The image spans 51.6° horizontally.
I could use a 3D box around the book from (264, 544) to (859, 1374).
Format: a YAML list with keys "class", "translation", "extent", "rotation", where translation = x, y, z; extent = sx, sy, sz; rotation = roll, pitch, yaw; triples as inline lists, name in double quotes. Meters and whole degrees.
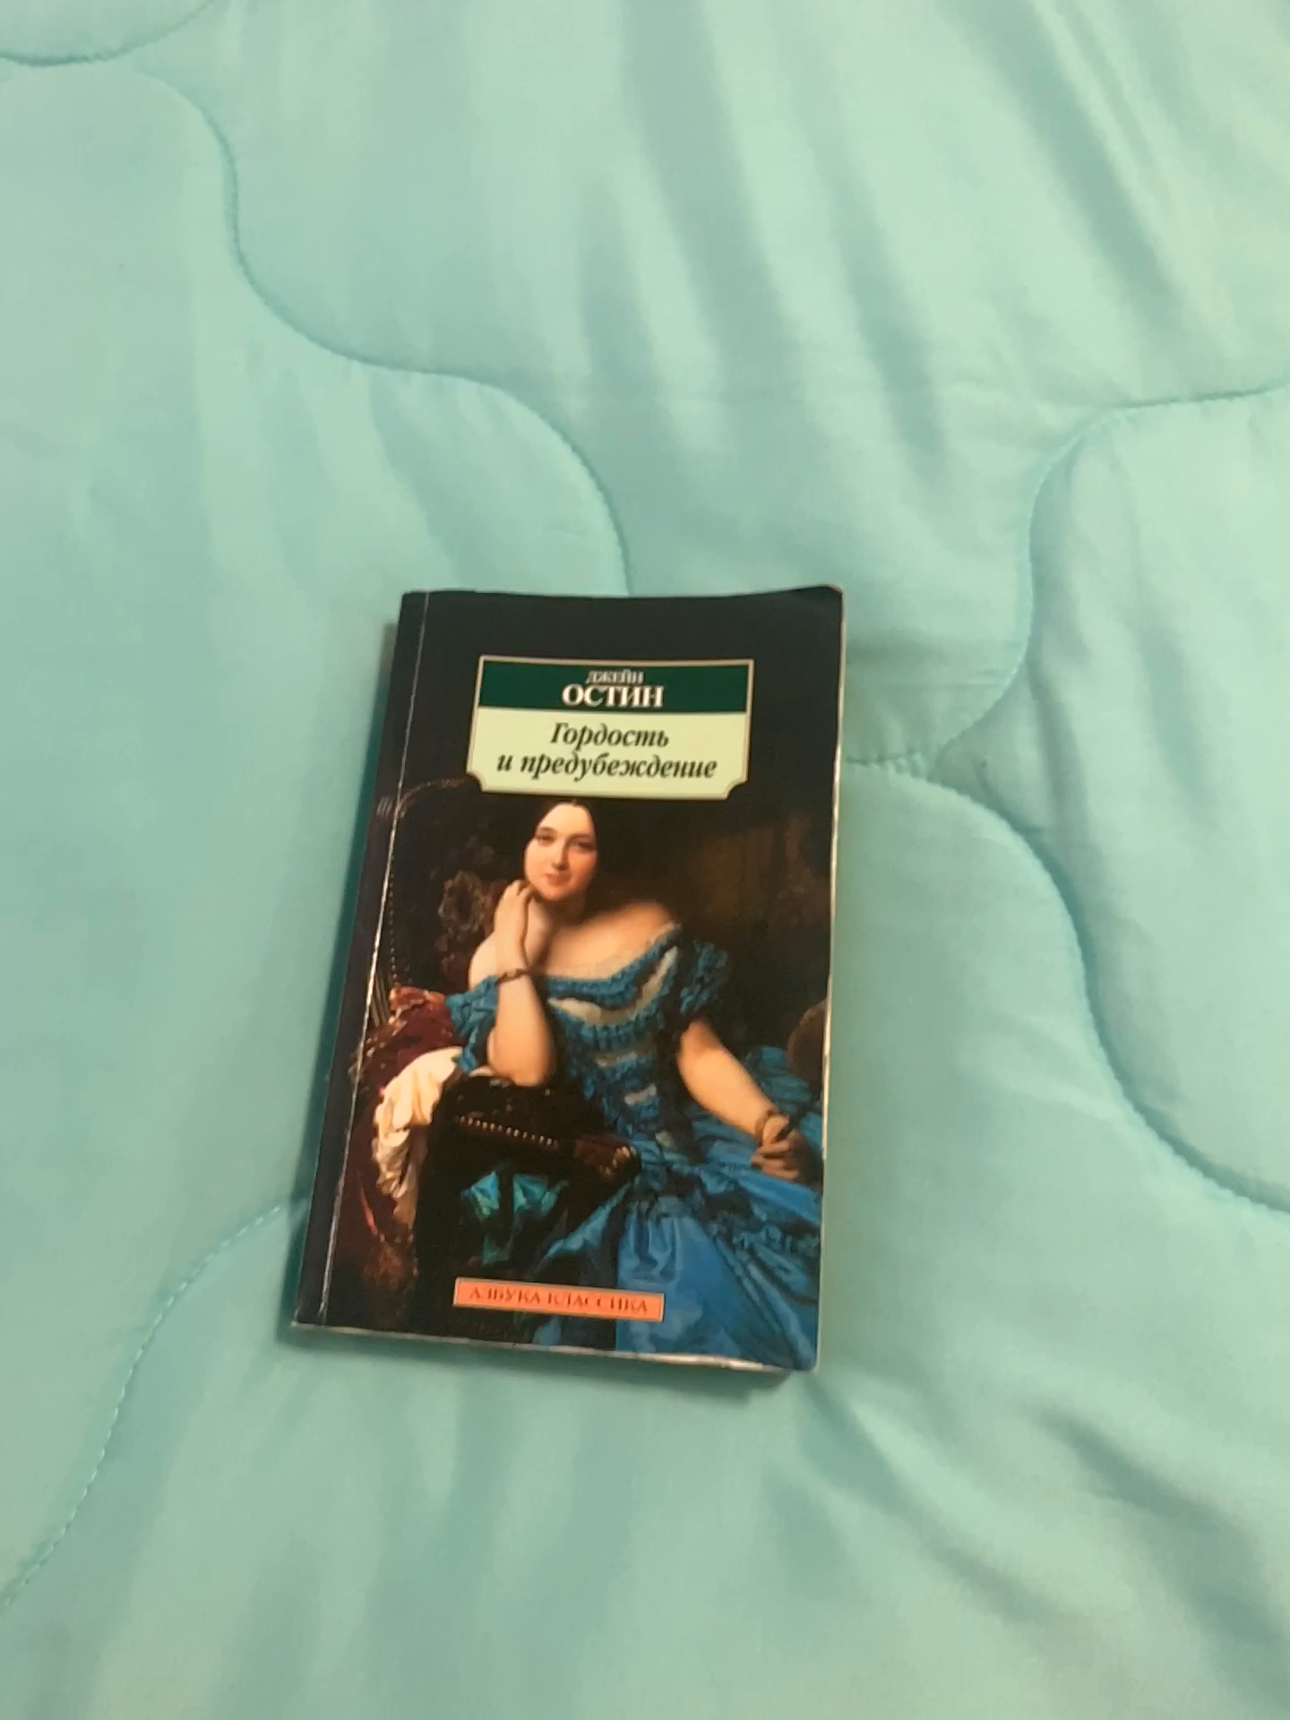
- class: "book"
  translation: [-0.012, 0.019, 0.306]
  extent: [0.110, 0.044, 0.173]
  rotation: [5, 72, 1]
